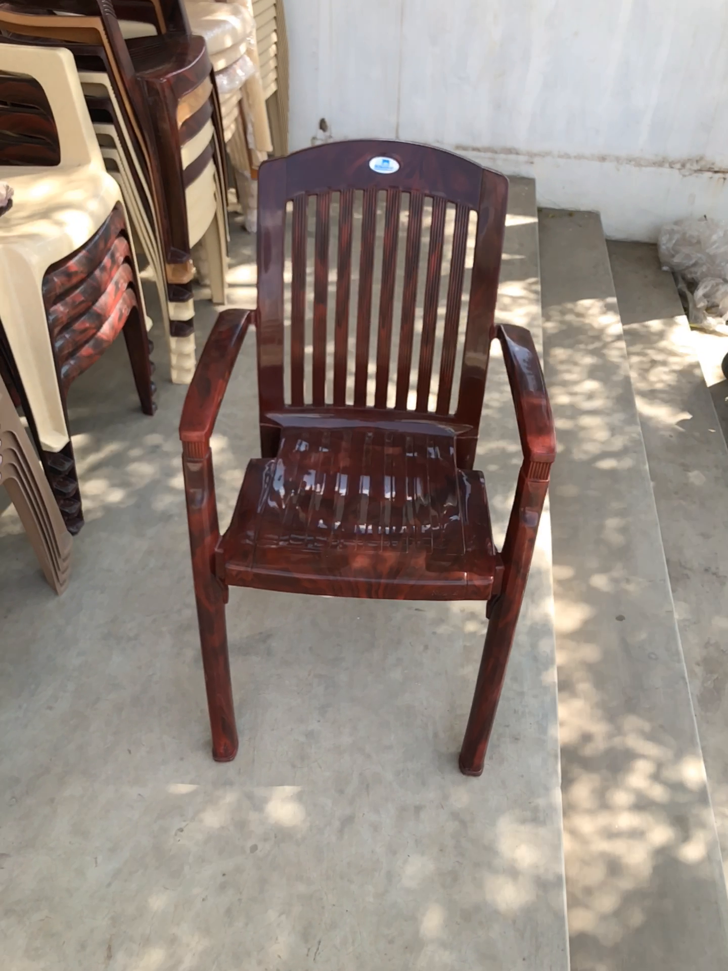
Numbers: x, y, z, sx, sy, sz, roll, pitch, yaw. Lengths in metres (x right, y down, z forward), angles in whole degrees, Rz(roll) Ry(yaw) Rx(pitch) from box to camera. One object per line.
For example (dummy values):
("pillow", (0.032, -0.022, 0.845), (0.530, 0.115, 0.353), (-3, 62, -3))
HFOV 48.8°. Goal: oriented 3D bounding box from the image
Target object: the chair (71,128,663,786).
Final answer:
("chair", (0.000, -0.041, 1.366), (0.610, 0.855, 0.694), (2, 41, 0))
